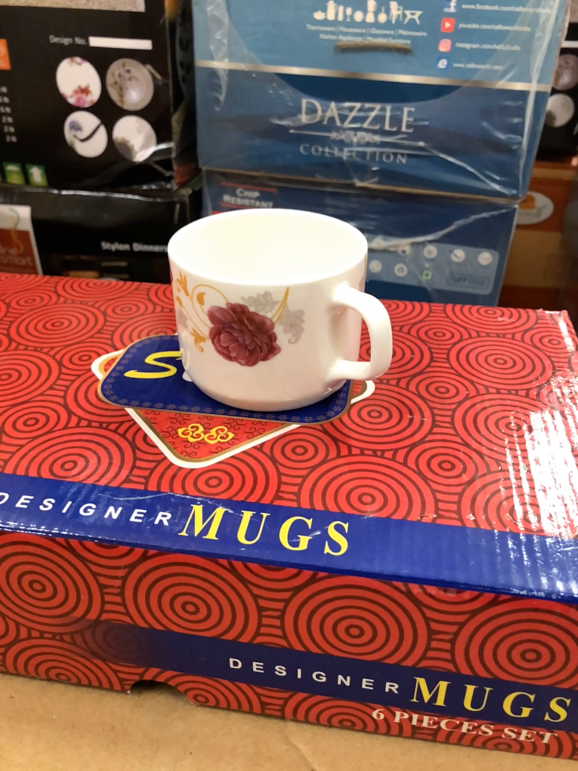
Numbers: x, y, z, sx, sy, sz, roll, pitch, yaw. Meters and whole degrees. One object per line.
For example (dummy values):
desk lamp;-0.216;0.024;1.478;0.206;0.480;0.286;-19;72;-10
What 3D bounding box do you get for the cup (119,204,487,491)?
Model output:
cup;0.003;-0.023;0.237;0.100;0.050;0.080;28;40;35
